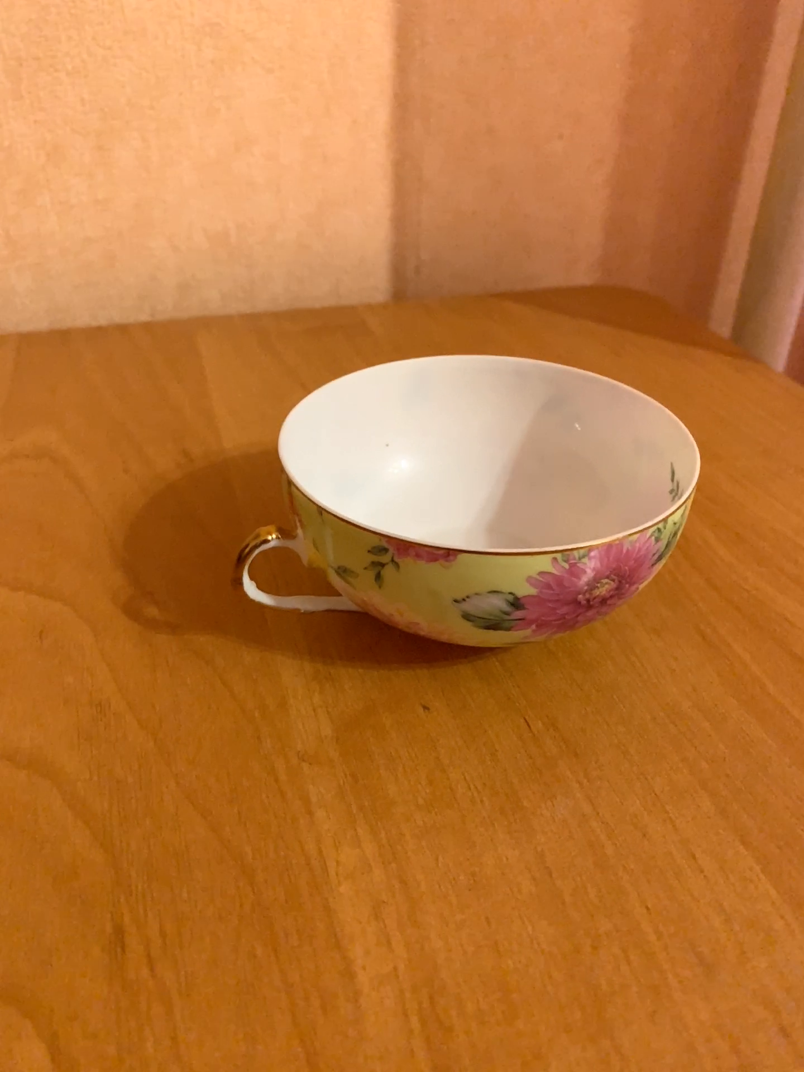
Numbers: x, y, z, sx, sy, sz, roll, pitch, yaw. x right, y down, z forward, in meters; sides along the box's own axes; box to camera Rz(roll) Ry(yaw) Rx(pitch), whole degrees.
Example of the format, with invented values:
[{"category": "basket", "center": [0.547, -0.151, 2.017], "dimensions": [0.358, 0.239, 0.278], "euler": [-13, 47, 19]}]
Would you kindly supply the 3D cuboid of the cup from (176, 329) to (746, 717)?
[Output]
[{"category": "cup", "center": [0.007, -0.011, 0.209], "dimensions": [0.113, 0.045, 0.079], "euler": [-9, 35, -14]}]
